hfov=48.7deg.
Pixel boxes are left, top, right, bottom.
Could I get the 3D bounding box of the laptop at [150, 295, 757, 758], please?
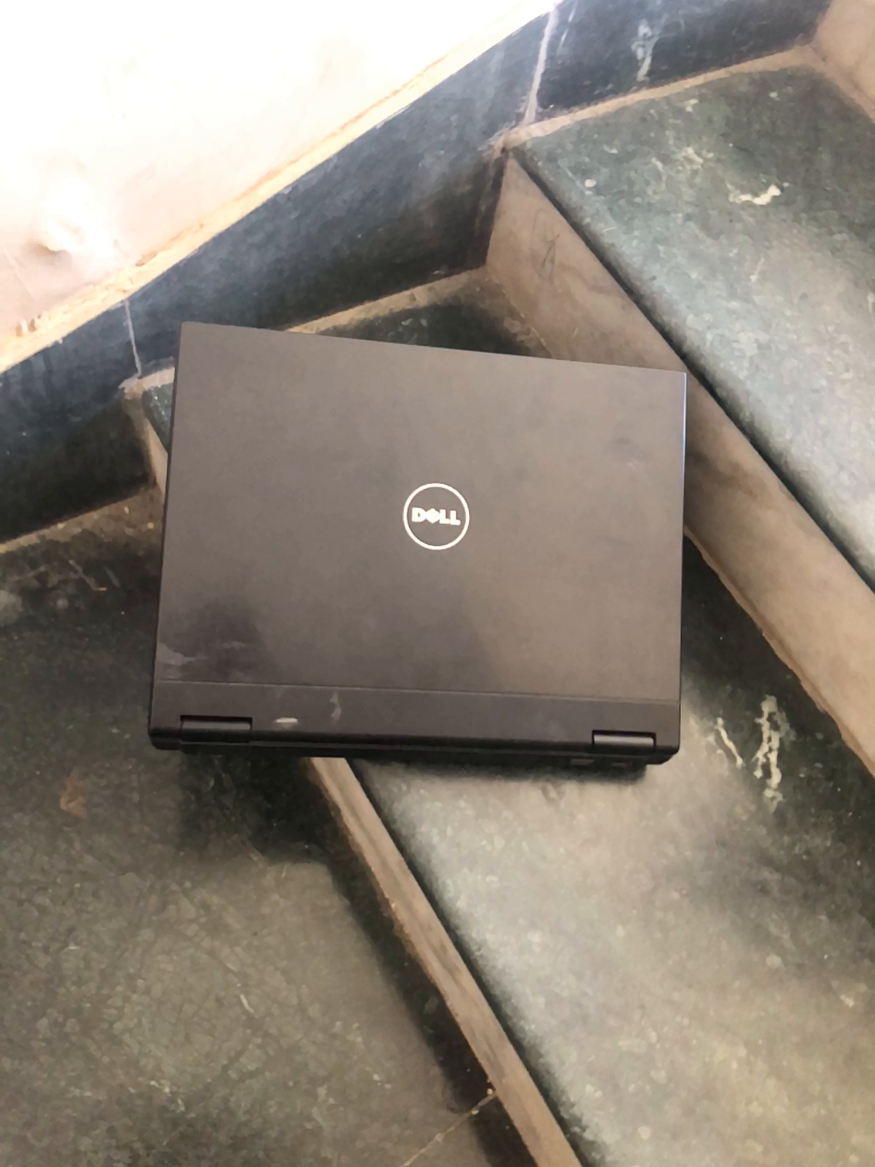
[{"bbox_3d":[0.002,-0.030,0.566,0.302,0.095,0.233,3,62,-10],"label":"laptop"}]
